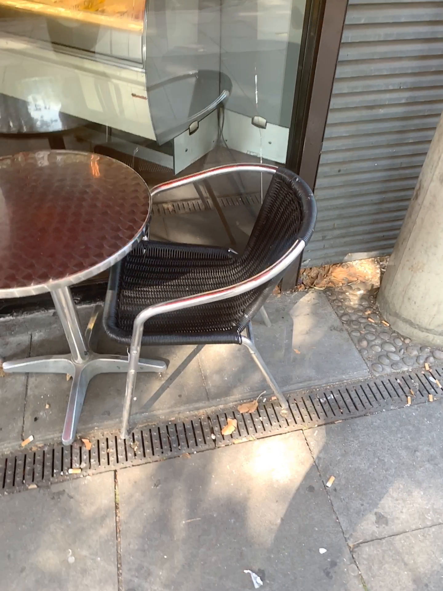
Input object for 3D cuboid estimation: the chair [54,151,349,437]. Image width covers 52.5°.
[{"bbox_3d":[-0.067,-0.018,1.398,0.640,0.604,0.606,-3,43,-5],"label":"chair"}]
